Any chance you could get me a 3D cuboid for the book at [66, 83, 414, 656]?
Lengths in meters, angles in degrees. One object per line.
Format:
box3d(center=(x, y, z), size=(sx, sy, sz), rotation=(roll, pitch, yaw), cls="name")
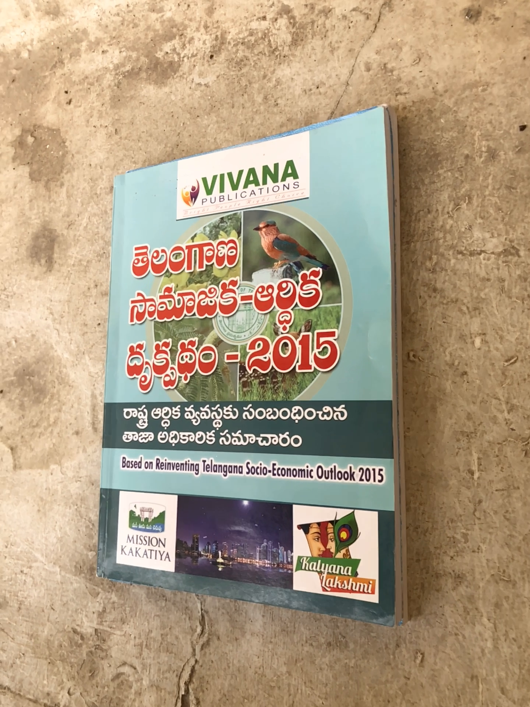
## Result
box3d(center=(-0.021, 0.005, 0.335), size=(0.200, 0.030, 0.270), rotation=(-3, 82, 27), cls="book")
